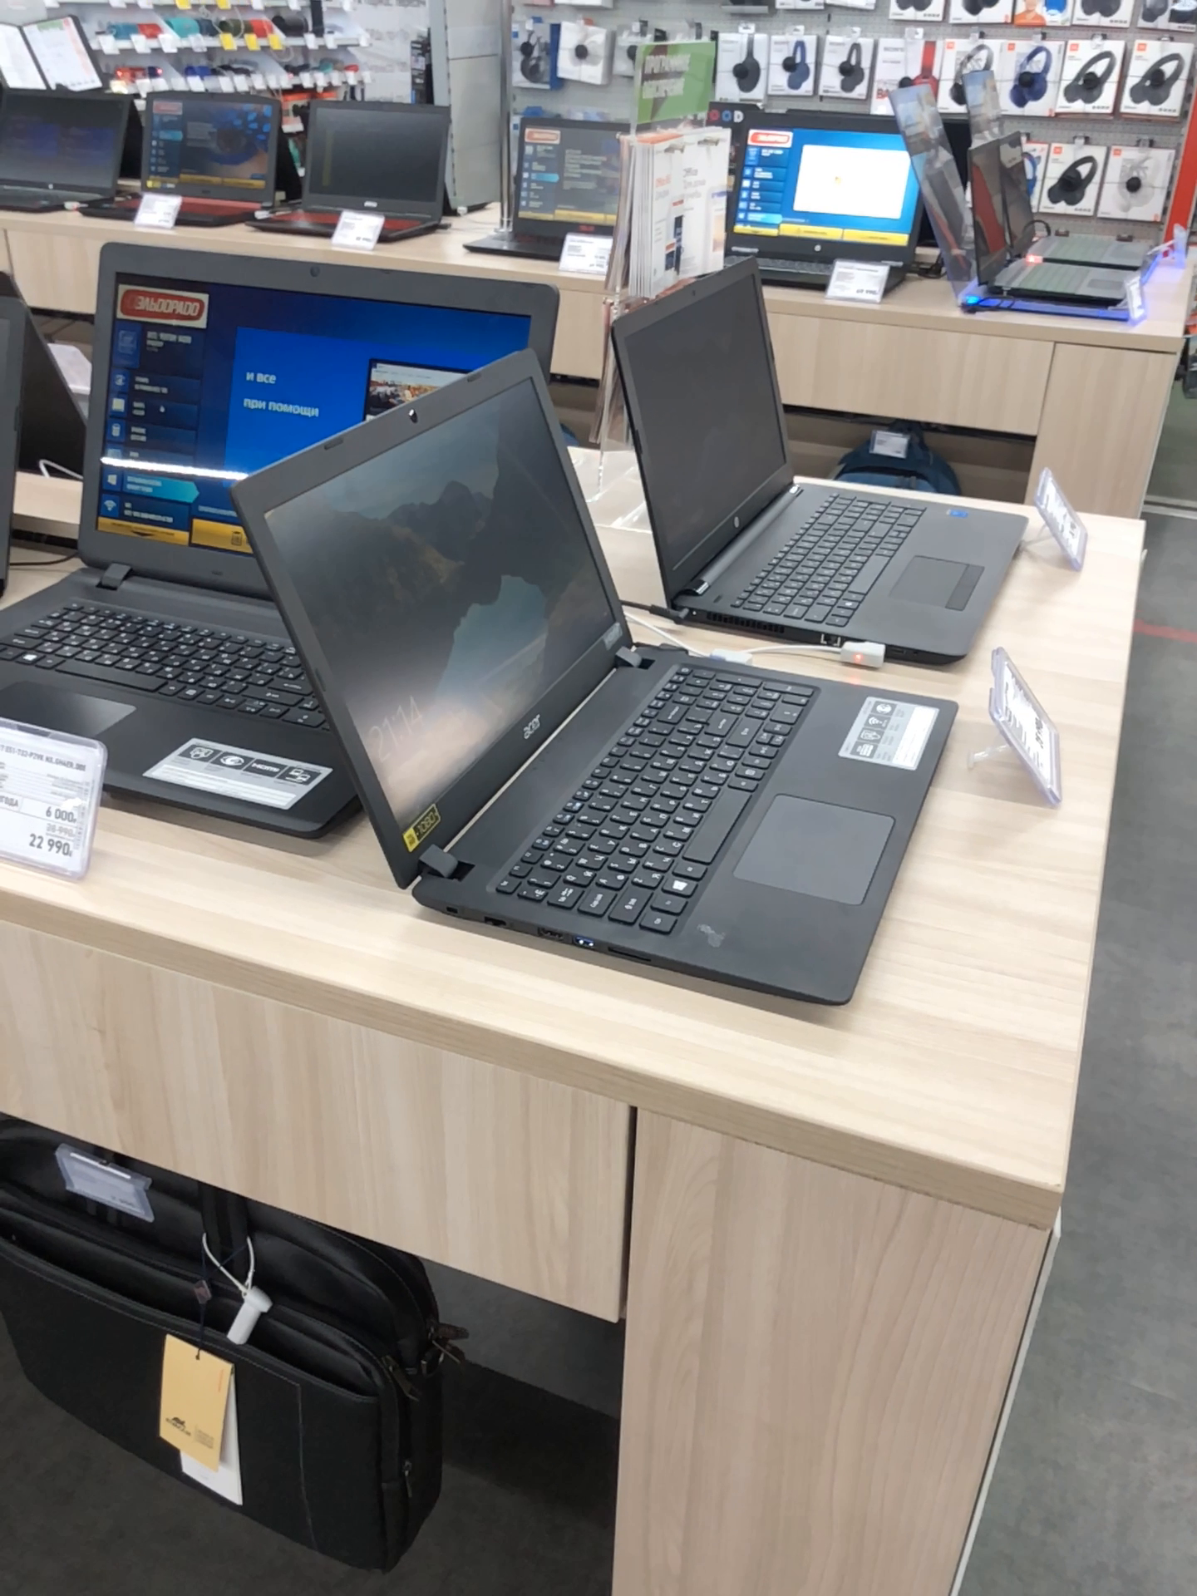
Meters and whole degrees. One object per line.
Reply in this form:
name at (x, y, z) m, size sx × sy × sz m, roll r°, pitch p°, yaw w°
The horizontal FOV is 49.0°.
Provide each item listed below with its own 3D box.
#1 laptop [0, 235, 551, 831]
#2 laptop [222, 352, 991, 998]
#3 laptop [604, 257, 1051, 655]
laptop at (-0.301, -0.230, 0.973) m, size 0.401 × 0.250 × 0.397 m, roll 13°, pitch 34°, yaw 17°
laptop at (0.031, -0.115, 0.837) m, size 0.347 × 0.219 × 0.376 m, roll 13°, pitch 32°, yaw 17°
laptop at (0.220, -0.333, 1.209) m, size 0.294 × 0.220 × 0.360 m, roll 14°, pitch 33°, yaw 17°
